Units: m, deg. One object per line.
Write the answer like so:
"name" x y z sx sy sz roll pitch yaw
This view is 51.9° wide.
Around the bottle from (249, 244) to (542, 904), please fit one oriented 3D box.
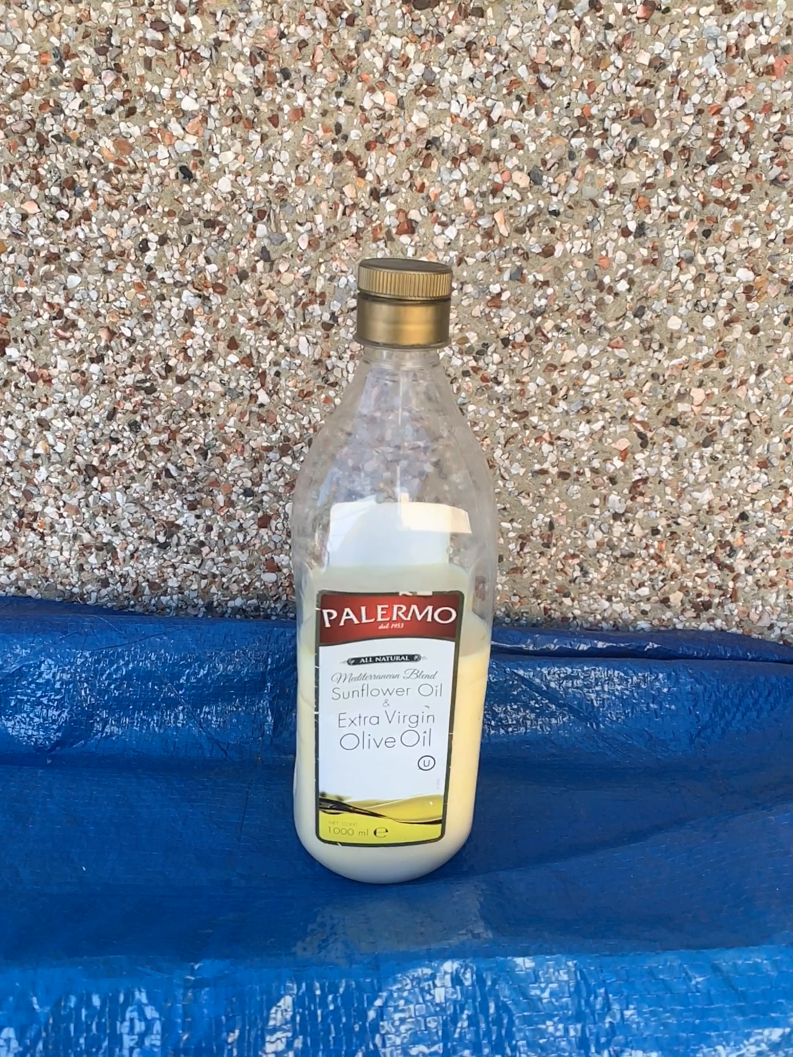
"bottle" -0.002 0.023 0.309 0.080 0.238 0.081 1 25 0
